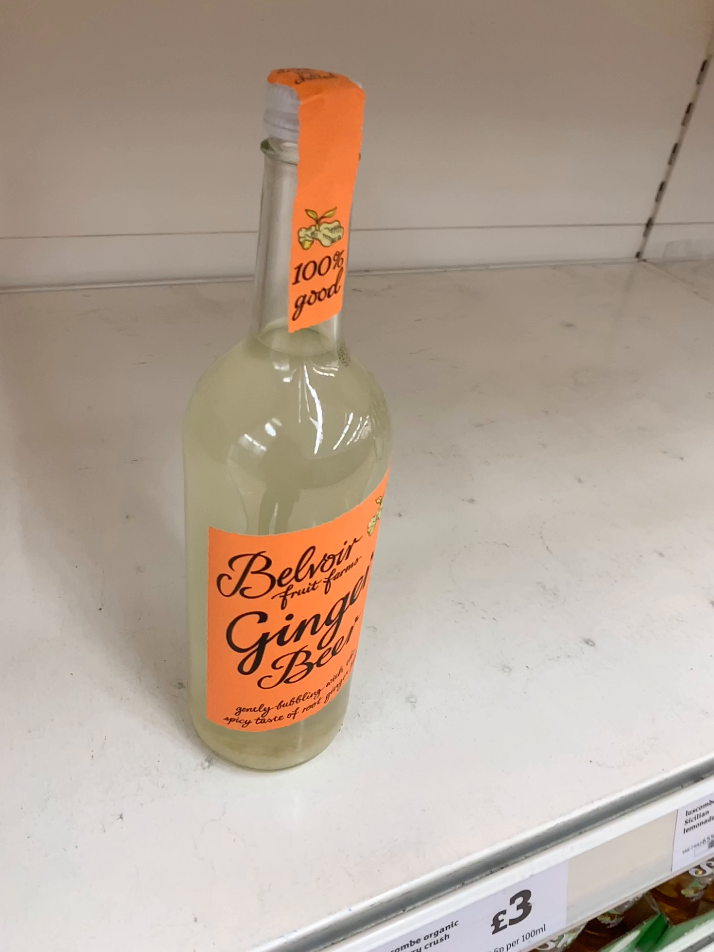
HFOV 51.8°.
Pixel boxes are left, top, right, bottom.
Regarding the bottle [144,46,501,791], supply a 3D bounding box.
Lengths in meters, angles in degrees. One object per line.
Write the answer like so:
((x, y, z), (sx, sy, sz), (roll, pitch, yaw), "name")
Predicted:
((-0.031, -0.003, 0.294), (0.084, 0.277, 0.091), (5, 35, -4), "bottle")
